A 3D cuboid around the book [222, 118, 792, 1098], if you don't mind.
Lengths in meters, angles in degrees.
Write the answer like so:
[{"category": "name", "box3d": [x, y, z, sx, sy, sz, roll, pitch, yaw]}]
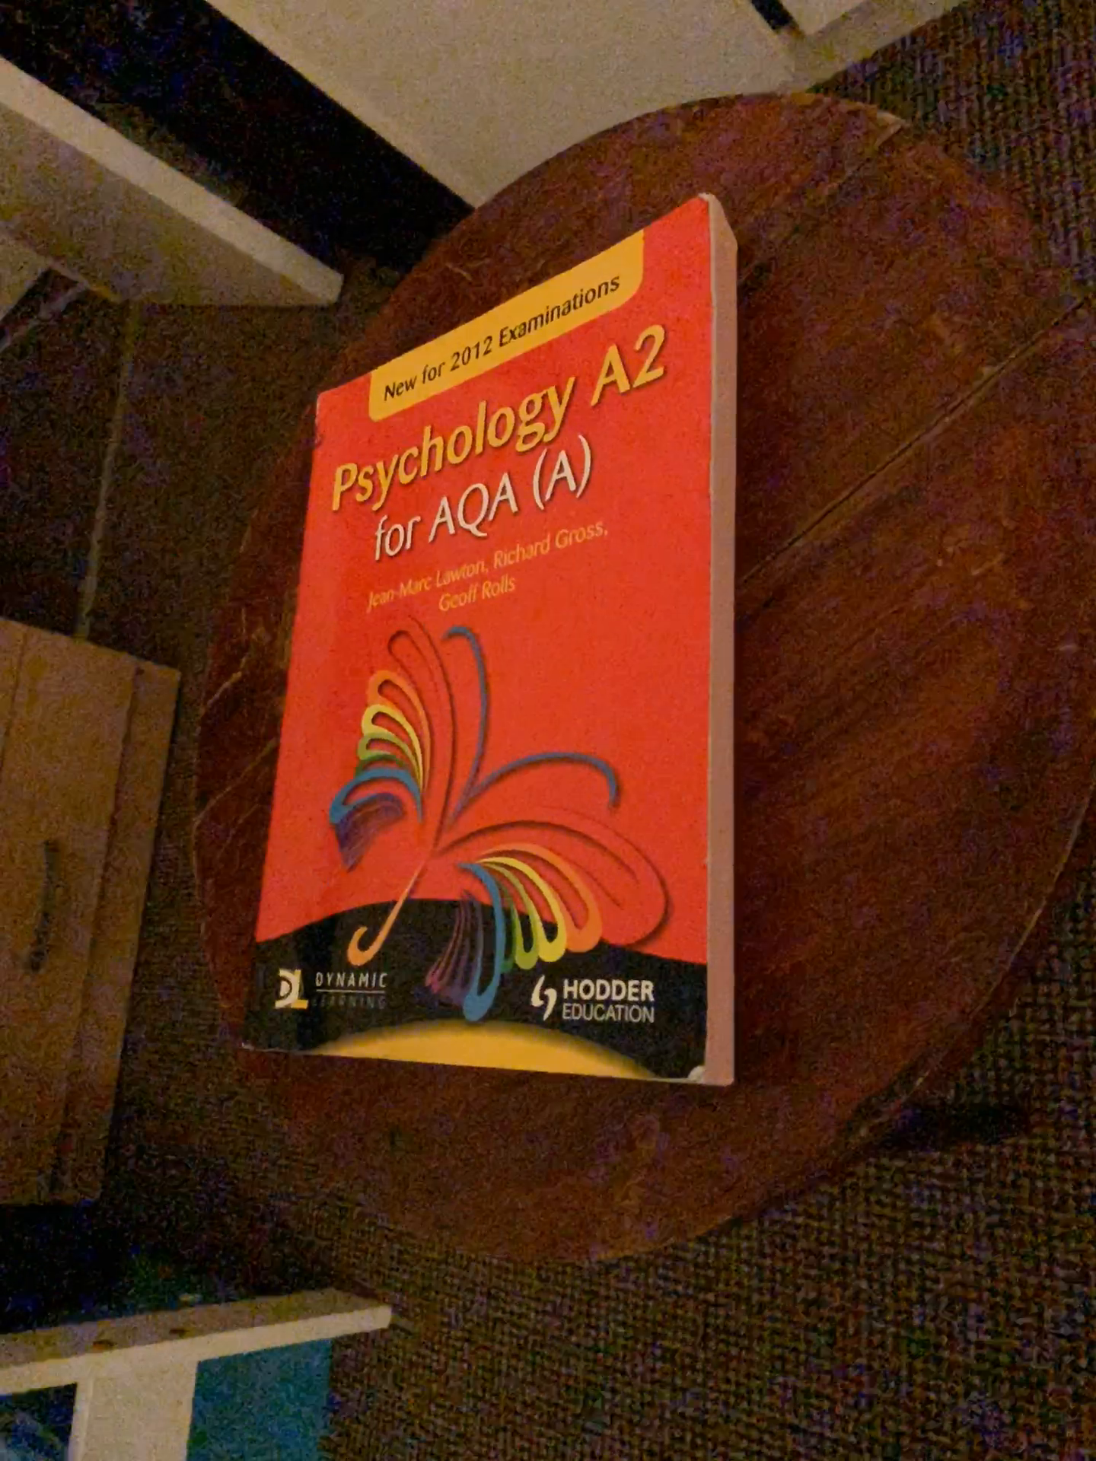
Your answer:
[{"category": "book", "box3d": [-0.018, -0.033, 0.394, 0.211, 0.040, 0.291, -10, 69, 41]}]
